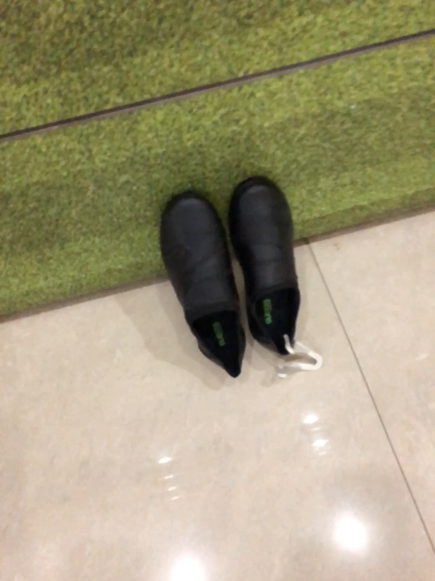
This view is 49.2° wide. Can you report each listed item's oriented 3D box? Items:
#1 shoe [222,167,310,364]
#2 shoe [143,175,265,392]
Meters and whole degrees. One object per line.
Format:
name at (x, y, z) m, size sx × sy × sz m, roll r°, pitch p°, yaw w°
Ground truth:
shoe at (0.063, -0.026, 0.592) m, size 0.074 × 0.229 × 0.067 m, roll -10°, pitch 28°, yaw 0°
shoe at (-0.017, -0.010, 0.622) m, size 0.087 × 0.248 × 0.107 m, roll -16°, pitch 22°, yaw -1°
